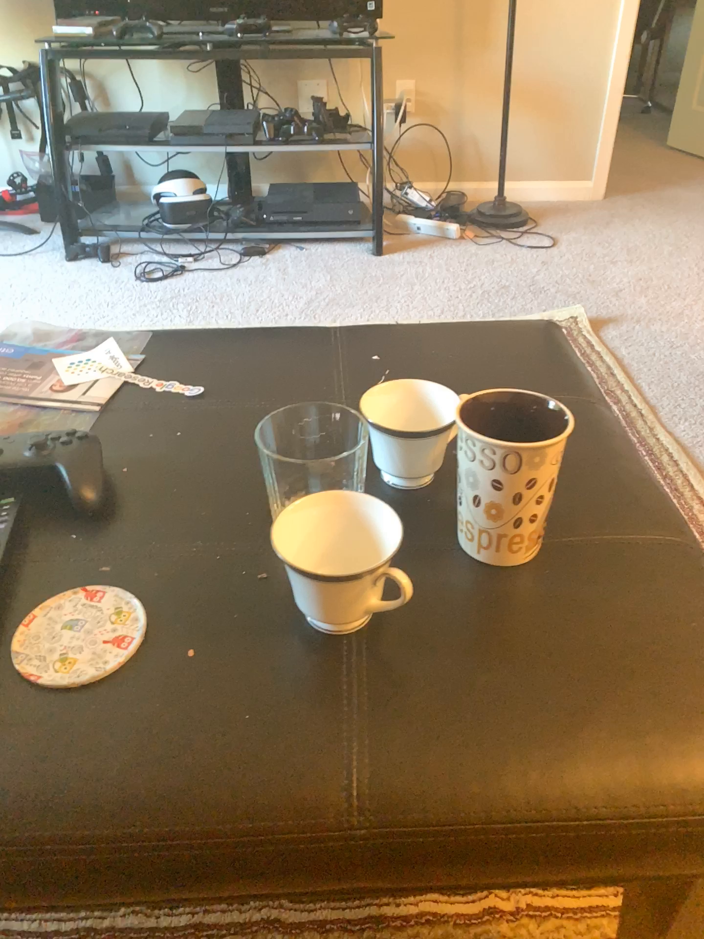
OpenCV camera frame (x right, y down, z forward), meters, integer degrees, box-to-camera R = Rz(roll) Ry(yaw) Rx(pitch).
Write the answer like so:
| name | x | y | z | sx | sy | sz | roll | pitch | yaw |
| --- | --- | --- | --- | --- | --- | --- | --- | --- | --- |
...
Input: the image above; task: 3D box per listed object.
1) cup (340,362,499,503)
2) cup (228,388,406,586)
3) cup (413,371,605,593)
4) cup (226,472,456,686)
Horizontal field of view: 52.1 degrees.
| name | x | y | z | sx | sy | sz | roll | pitch | yaw |
| --- | --- | --- | --- | --- | --- | --- | --- | --- | --- |
| cup | 0.057 | -0.036 | 0.641 | 0.110 | 0.070 | 0.091 | -12 | 37 | -15 |
| cup | -0.026 | 0.011 | 0.600 | 0.100 | 0.099 | 0.100 | -1 | 35 | 1 |
| cup | 0.118 | 0.006 | 0.557 | 0.100 | 0.109 | 0.100 | -1 | 35 | 1 |
| cup | -0.007 | 0.070 | 0.506 | 0.120 | 0.060 | 0.100 | 22 | 42 | 29 |
